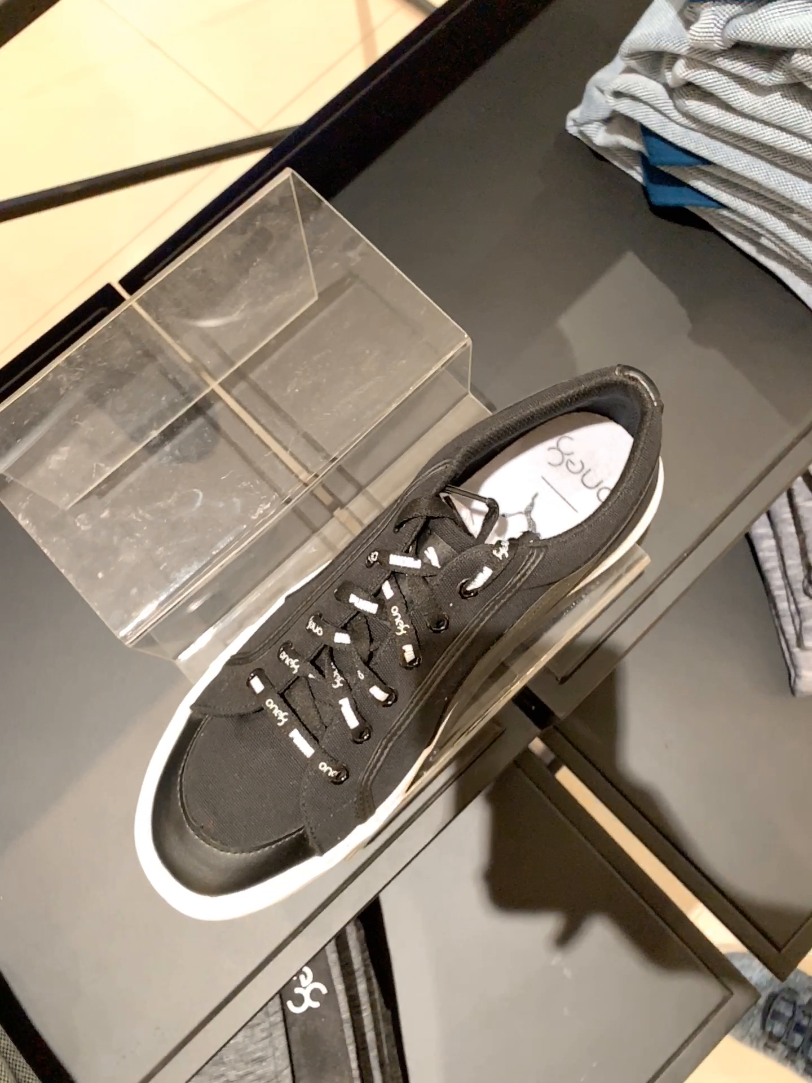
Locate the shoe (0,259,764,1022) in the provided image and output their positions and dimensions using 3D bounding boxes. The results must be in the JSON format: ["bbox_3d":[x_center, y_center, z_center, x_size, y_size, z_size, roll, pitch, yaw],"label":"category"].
[{"bbox_3d":[-0.006,0.034,0.348,0.280,0.100,0.110,-43,75,-7],"label":"shoe"}]
